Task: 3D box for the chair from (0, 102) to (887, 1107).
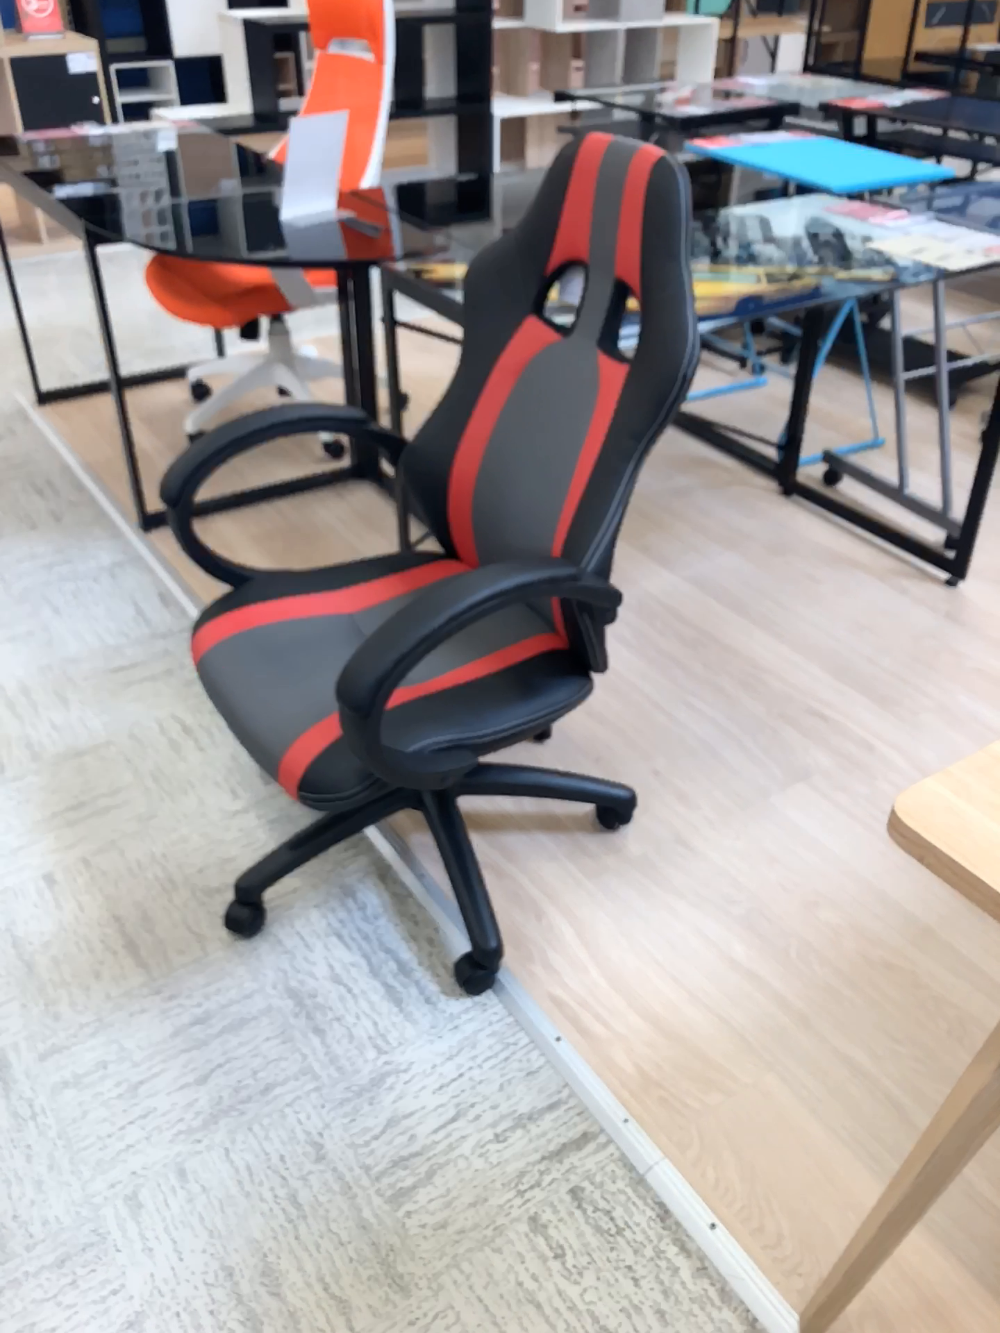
[{"bbox_3d":[-0.100,-0.144,1.415,0.693,0.924,0.692,-19,38,-26],"label":"chair"}]
